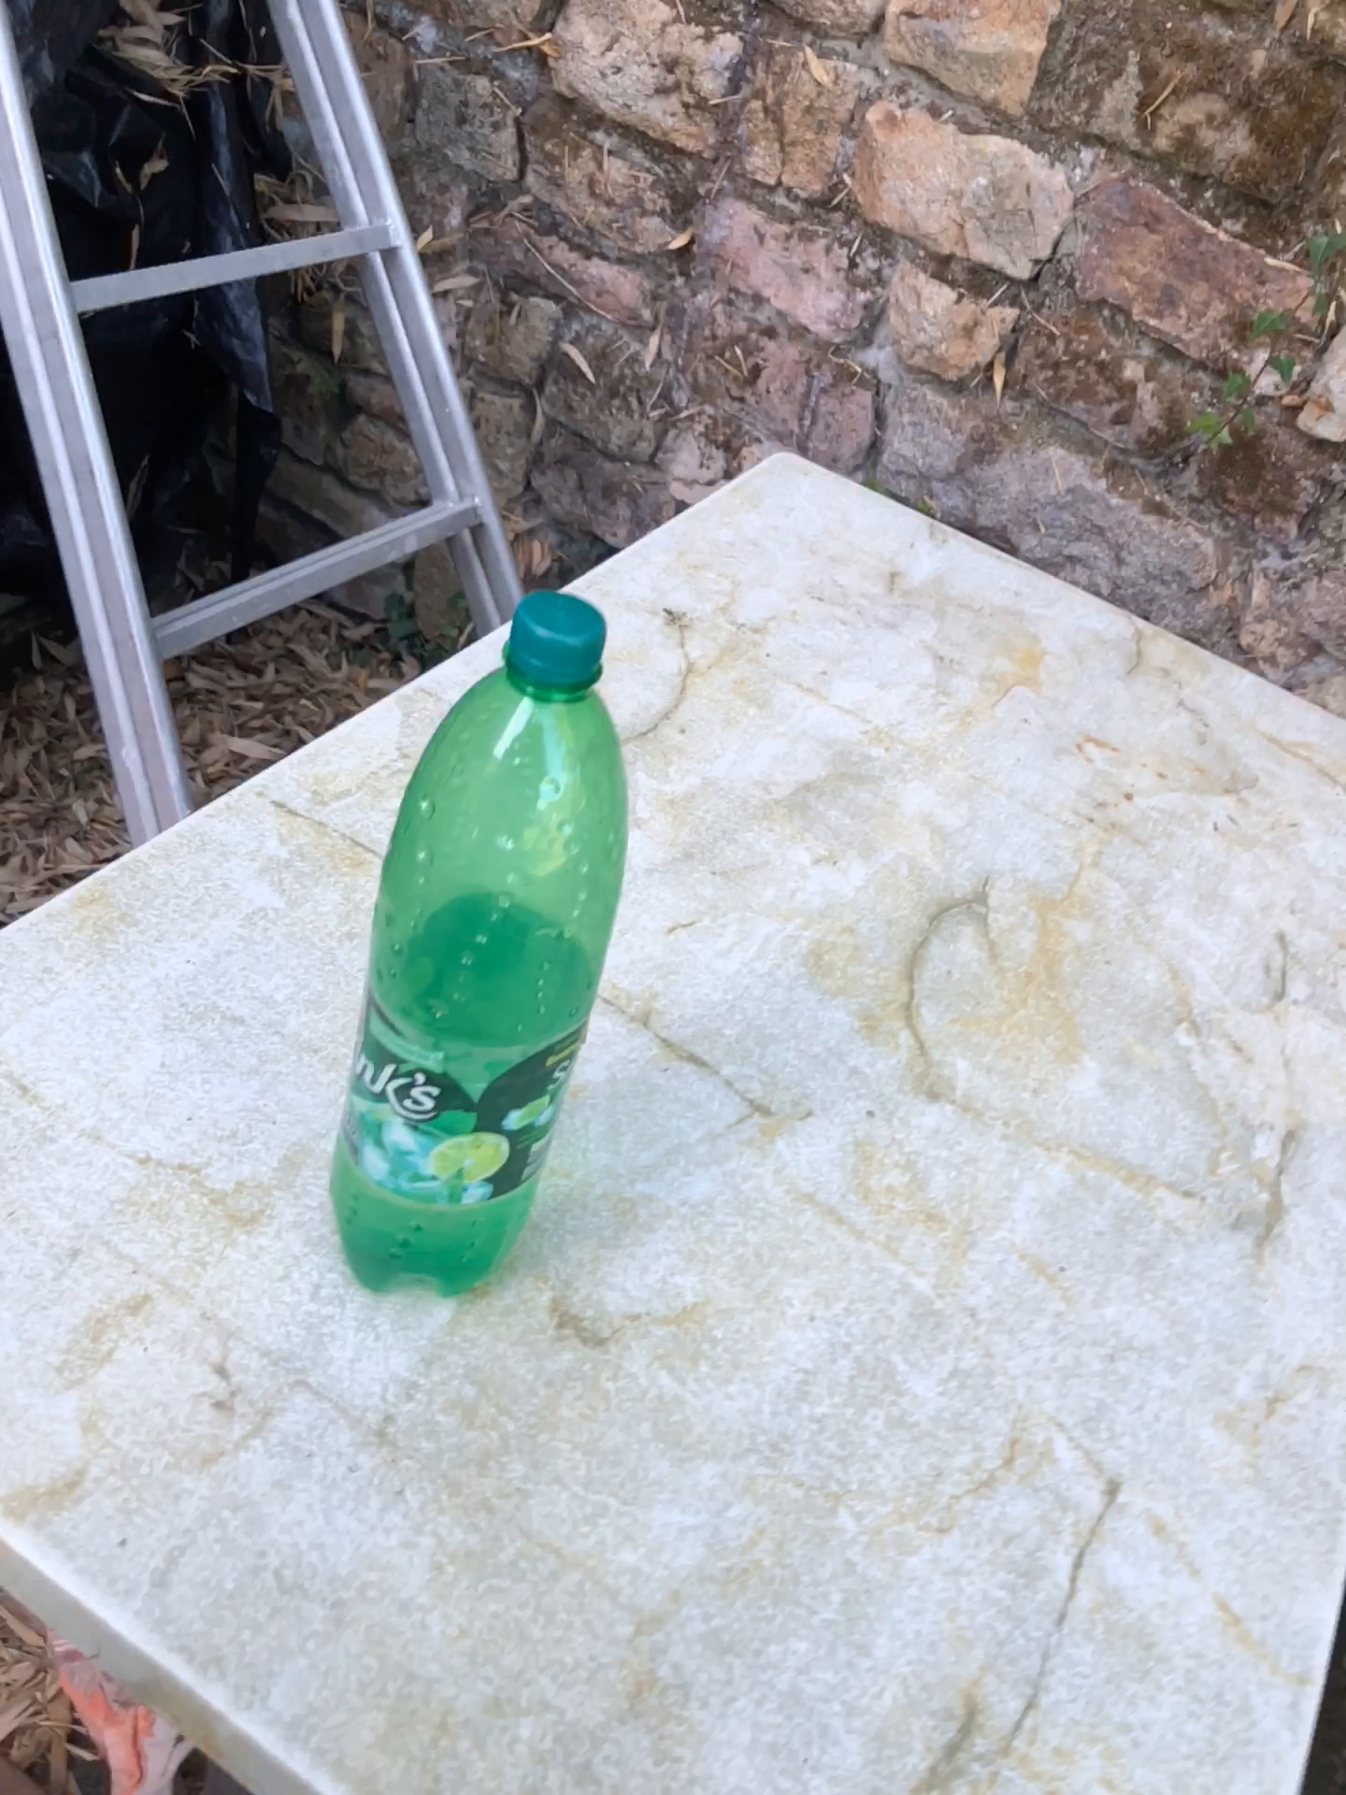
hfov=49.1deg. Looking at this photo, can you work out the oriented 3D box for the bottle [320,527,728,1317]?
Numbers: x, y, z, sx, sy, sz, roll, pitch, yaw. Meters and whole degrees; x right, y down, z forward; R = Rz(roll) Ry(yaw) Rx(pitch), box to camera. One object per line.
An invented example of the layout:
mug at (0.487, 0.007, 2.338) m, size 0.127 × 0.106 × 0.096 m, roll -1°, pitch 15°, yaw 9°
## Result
bottle at (-0.071, 0.028, 0.543) m, size 0.090 × 0.308 × 0.090 m, roll 10°, pitch 41°, yaw -9°
